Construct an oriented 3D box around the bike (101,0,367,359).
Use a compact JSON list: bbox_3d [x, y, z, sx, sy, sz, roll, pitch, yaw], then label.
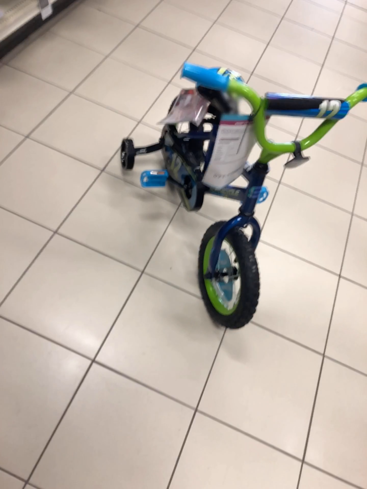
[{"bbox_3d":[0.105,-0.240,1.084,0.548,0.676,0.796,-6,60,-16],"label":"bike"}]
